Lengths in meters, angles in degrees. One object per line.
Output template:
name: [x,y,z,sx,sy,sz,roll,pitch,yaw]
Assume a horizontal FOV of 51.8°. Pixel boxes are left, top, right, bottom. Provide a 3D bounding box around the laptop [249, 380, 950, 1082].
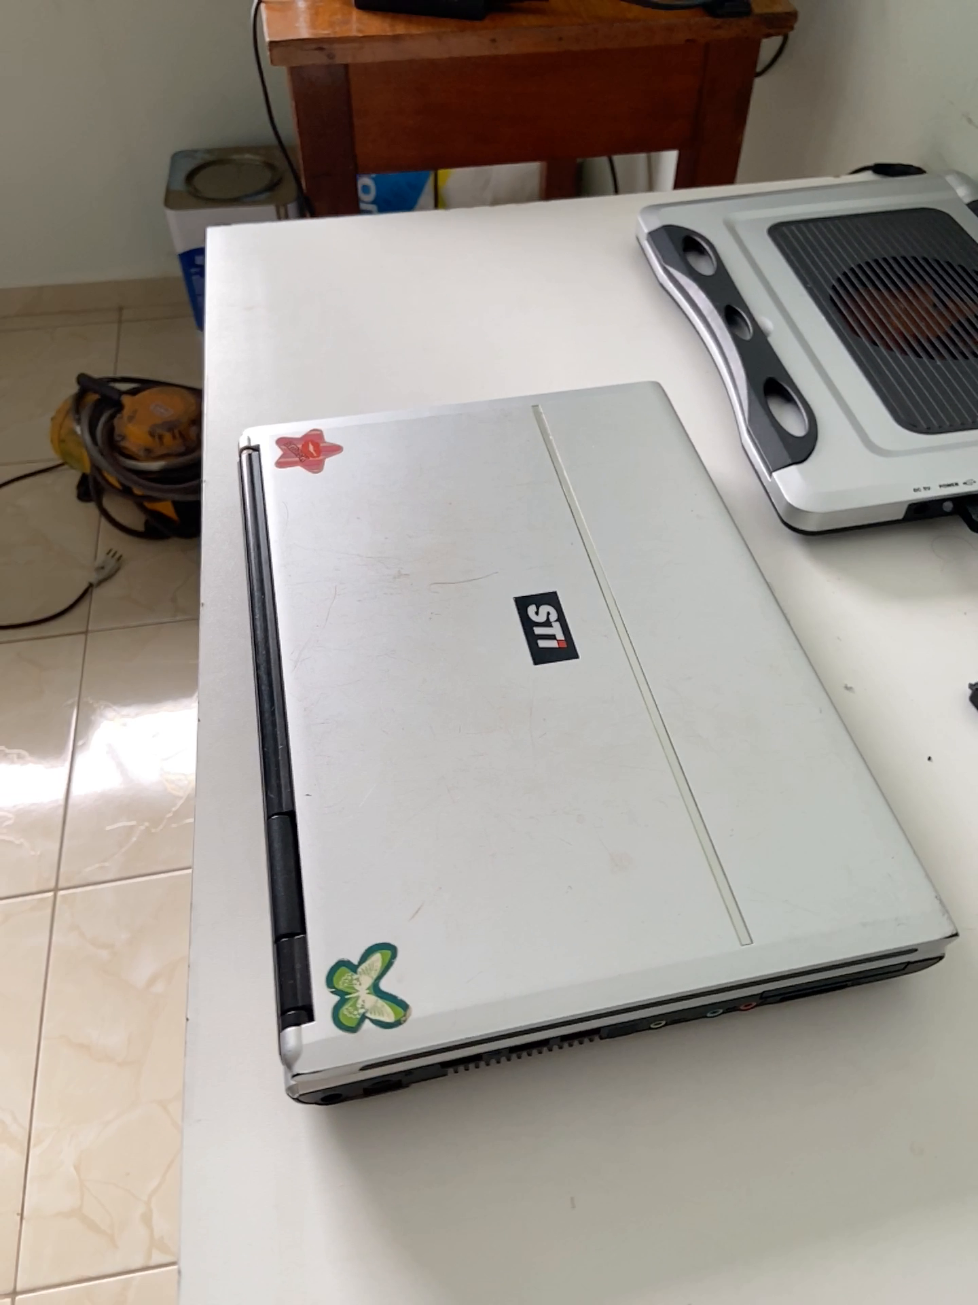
laptop: [0.018,-0.008,0.451,0.234,0.004,0.340,-8,50,-8]
